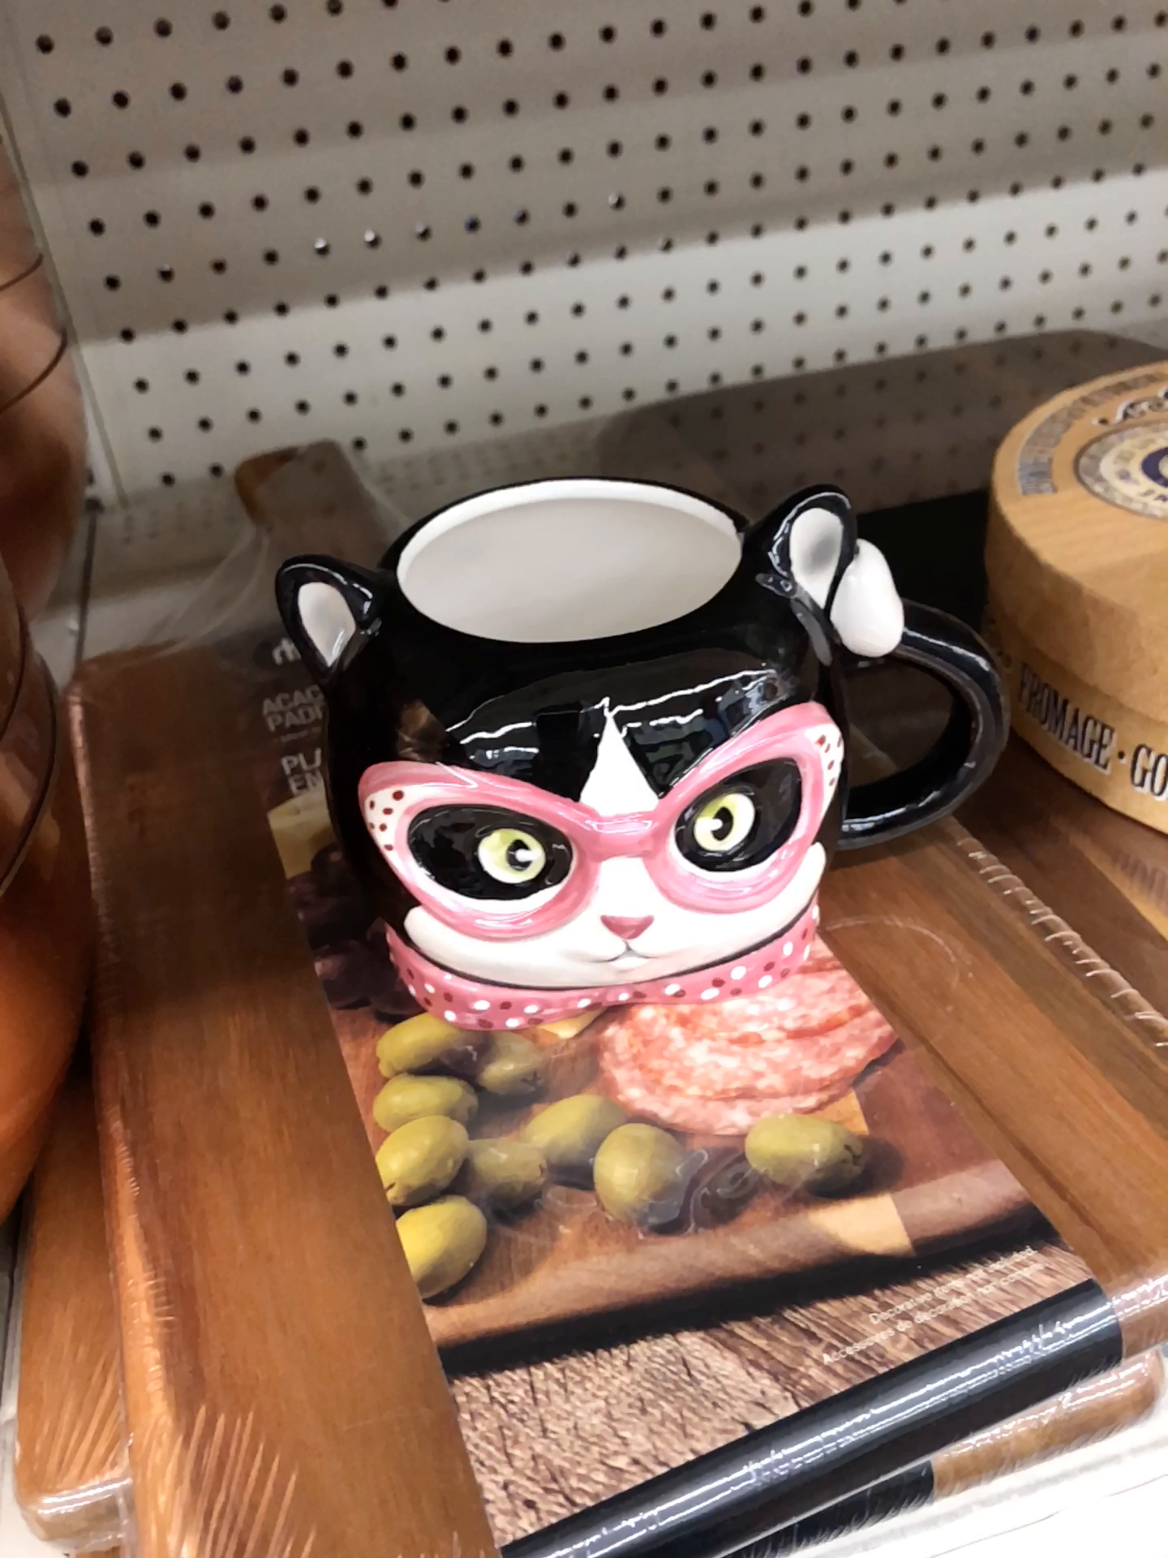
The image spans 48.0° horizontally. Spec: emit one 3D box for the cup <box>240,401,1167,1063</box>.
[{"bbox_3d":[0.020,-0.012,0.260,0.150,0.080,0.080,-8,36,-3],"label":"cup"}]
